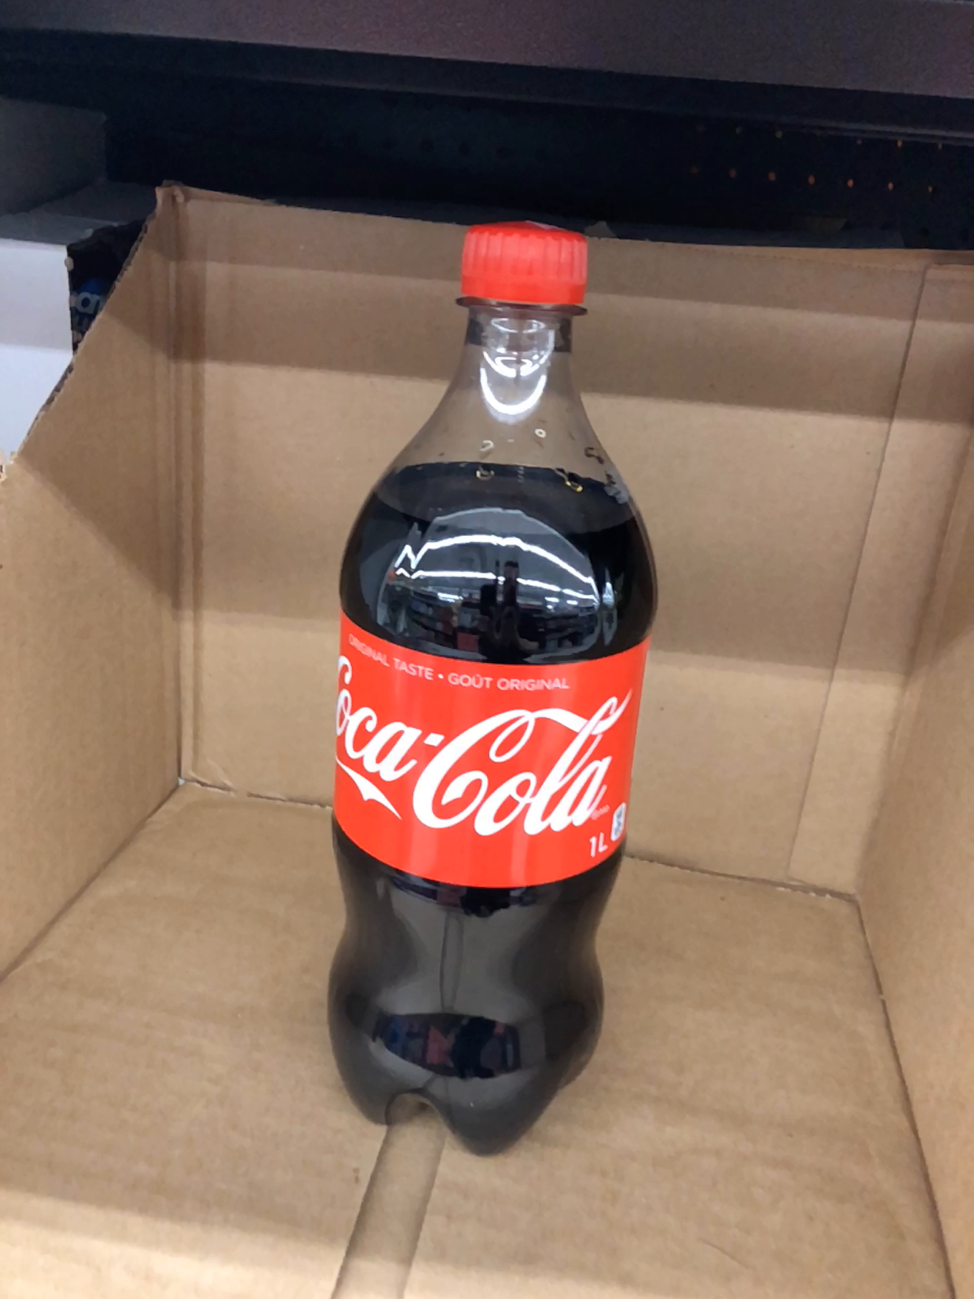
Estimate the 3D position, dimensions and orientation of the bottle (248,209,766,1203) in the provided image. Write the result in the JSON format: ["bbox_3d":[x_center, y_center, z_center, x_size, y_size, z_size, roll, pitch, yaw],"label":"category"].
[{"bbox_3d":[0.001,0.014,0.305,0.100,0.248,0.091,12,24,16],"label":"bottle"}]
